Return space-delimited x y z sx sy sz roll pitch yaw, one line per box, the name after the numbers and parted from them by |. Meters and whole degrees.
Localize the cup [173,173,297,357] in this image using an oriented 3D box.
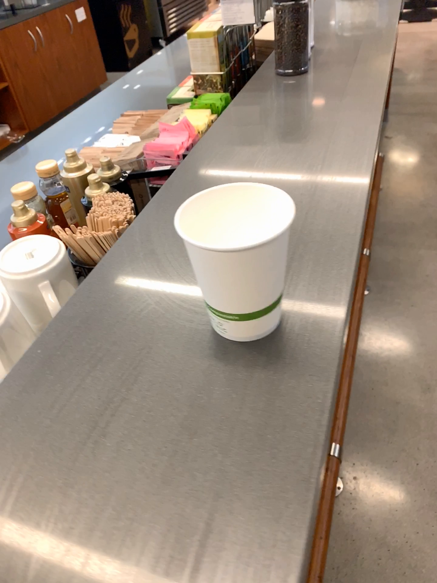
0.021 -0.018 0.358 0.080 0.119 0.080 -5 41 4 | cup
